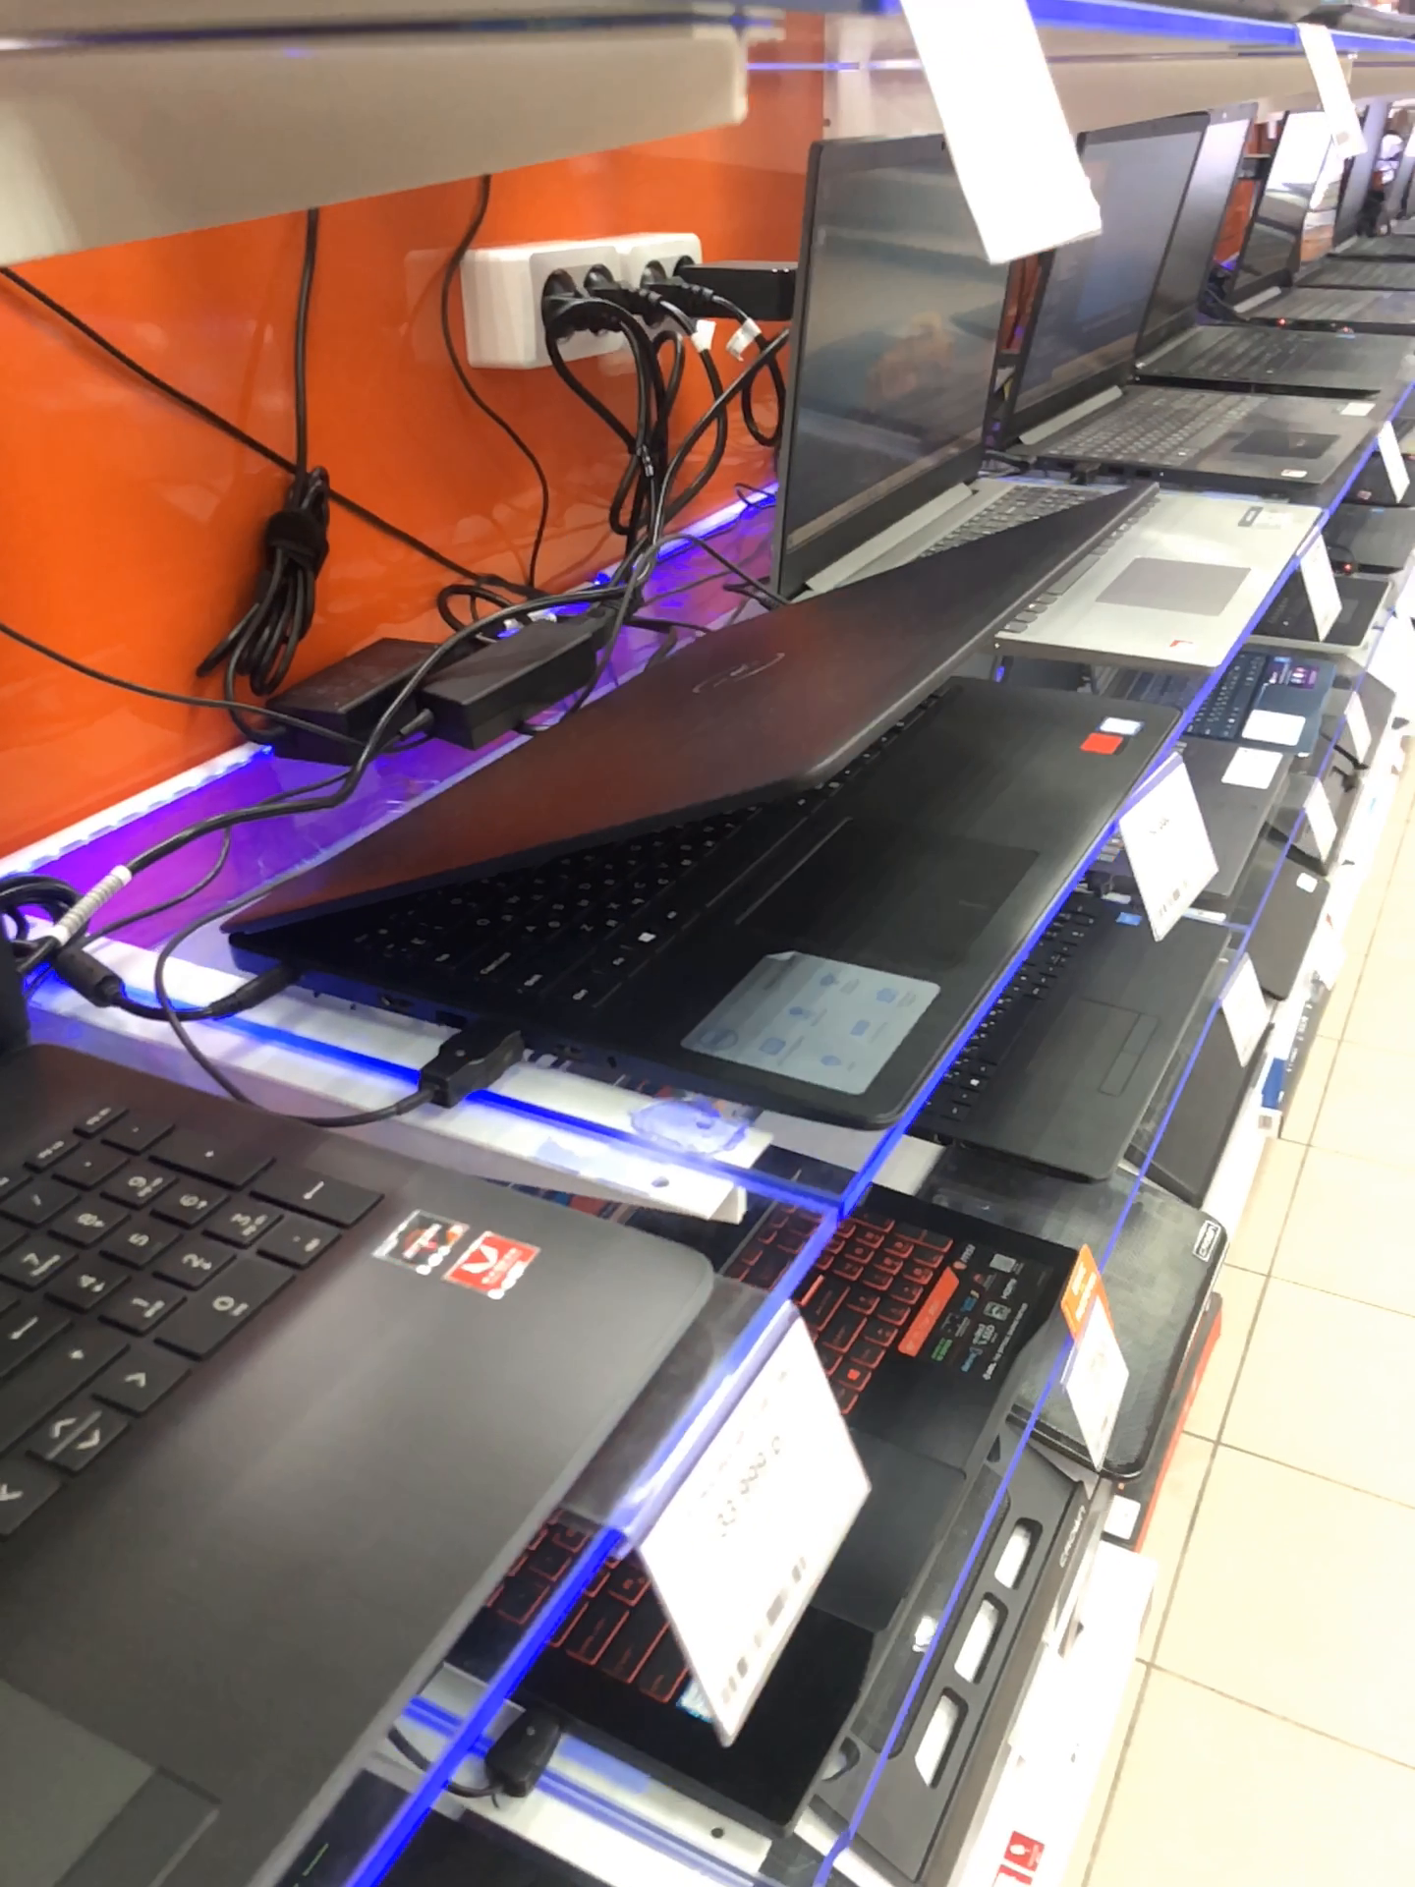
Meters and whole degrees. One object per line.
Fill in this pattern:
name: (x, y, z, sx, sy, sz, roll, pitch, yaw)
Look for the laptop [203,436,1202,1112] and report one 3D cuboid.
laptop: (0.029, -0.104, 0.609, 0.238, 0.100, 0.372, 12, 32, 24)
